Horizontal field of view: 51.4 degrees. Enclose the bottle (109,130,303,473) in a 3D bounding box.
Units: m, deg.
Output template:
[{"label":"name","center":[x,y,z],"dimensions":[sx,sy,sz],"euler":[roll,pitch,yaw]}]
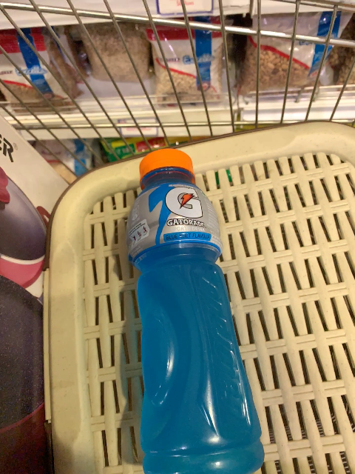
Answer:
[{"label":"bottle","center":[0.003,0.037,0.234],"dimensions":[0.080,0.060,0.210],"euler":[-3,68,-11]}]
